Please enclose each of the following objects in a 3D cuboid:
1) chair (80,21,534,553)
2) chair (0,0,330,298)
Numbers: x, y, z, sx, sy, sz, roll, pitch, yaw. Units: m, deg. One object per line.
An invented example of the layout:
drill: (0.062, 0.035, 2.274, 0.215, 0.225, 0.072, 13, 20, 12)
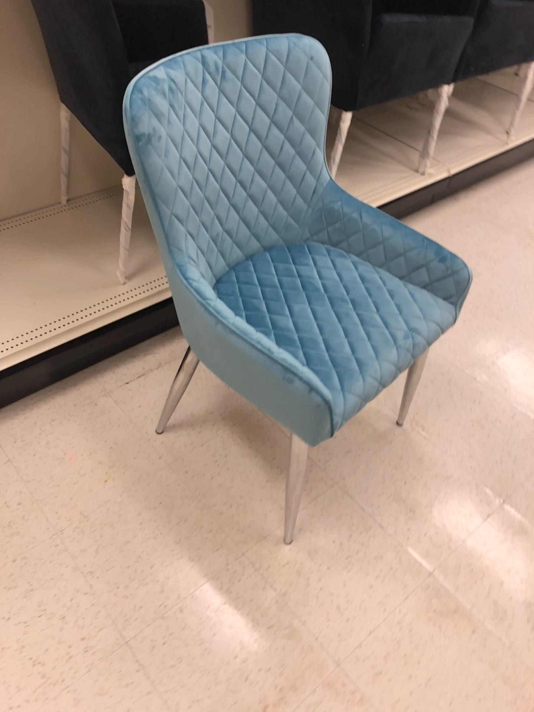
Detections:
chair: (0.058, -0.147, 1.319, 0.584, 0.871, 0.561, 35, 51, 27)
chair: (-0.284, -0.710, 1.614, 0.581, 0.777, 0.561, -24, 51, -27)
